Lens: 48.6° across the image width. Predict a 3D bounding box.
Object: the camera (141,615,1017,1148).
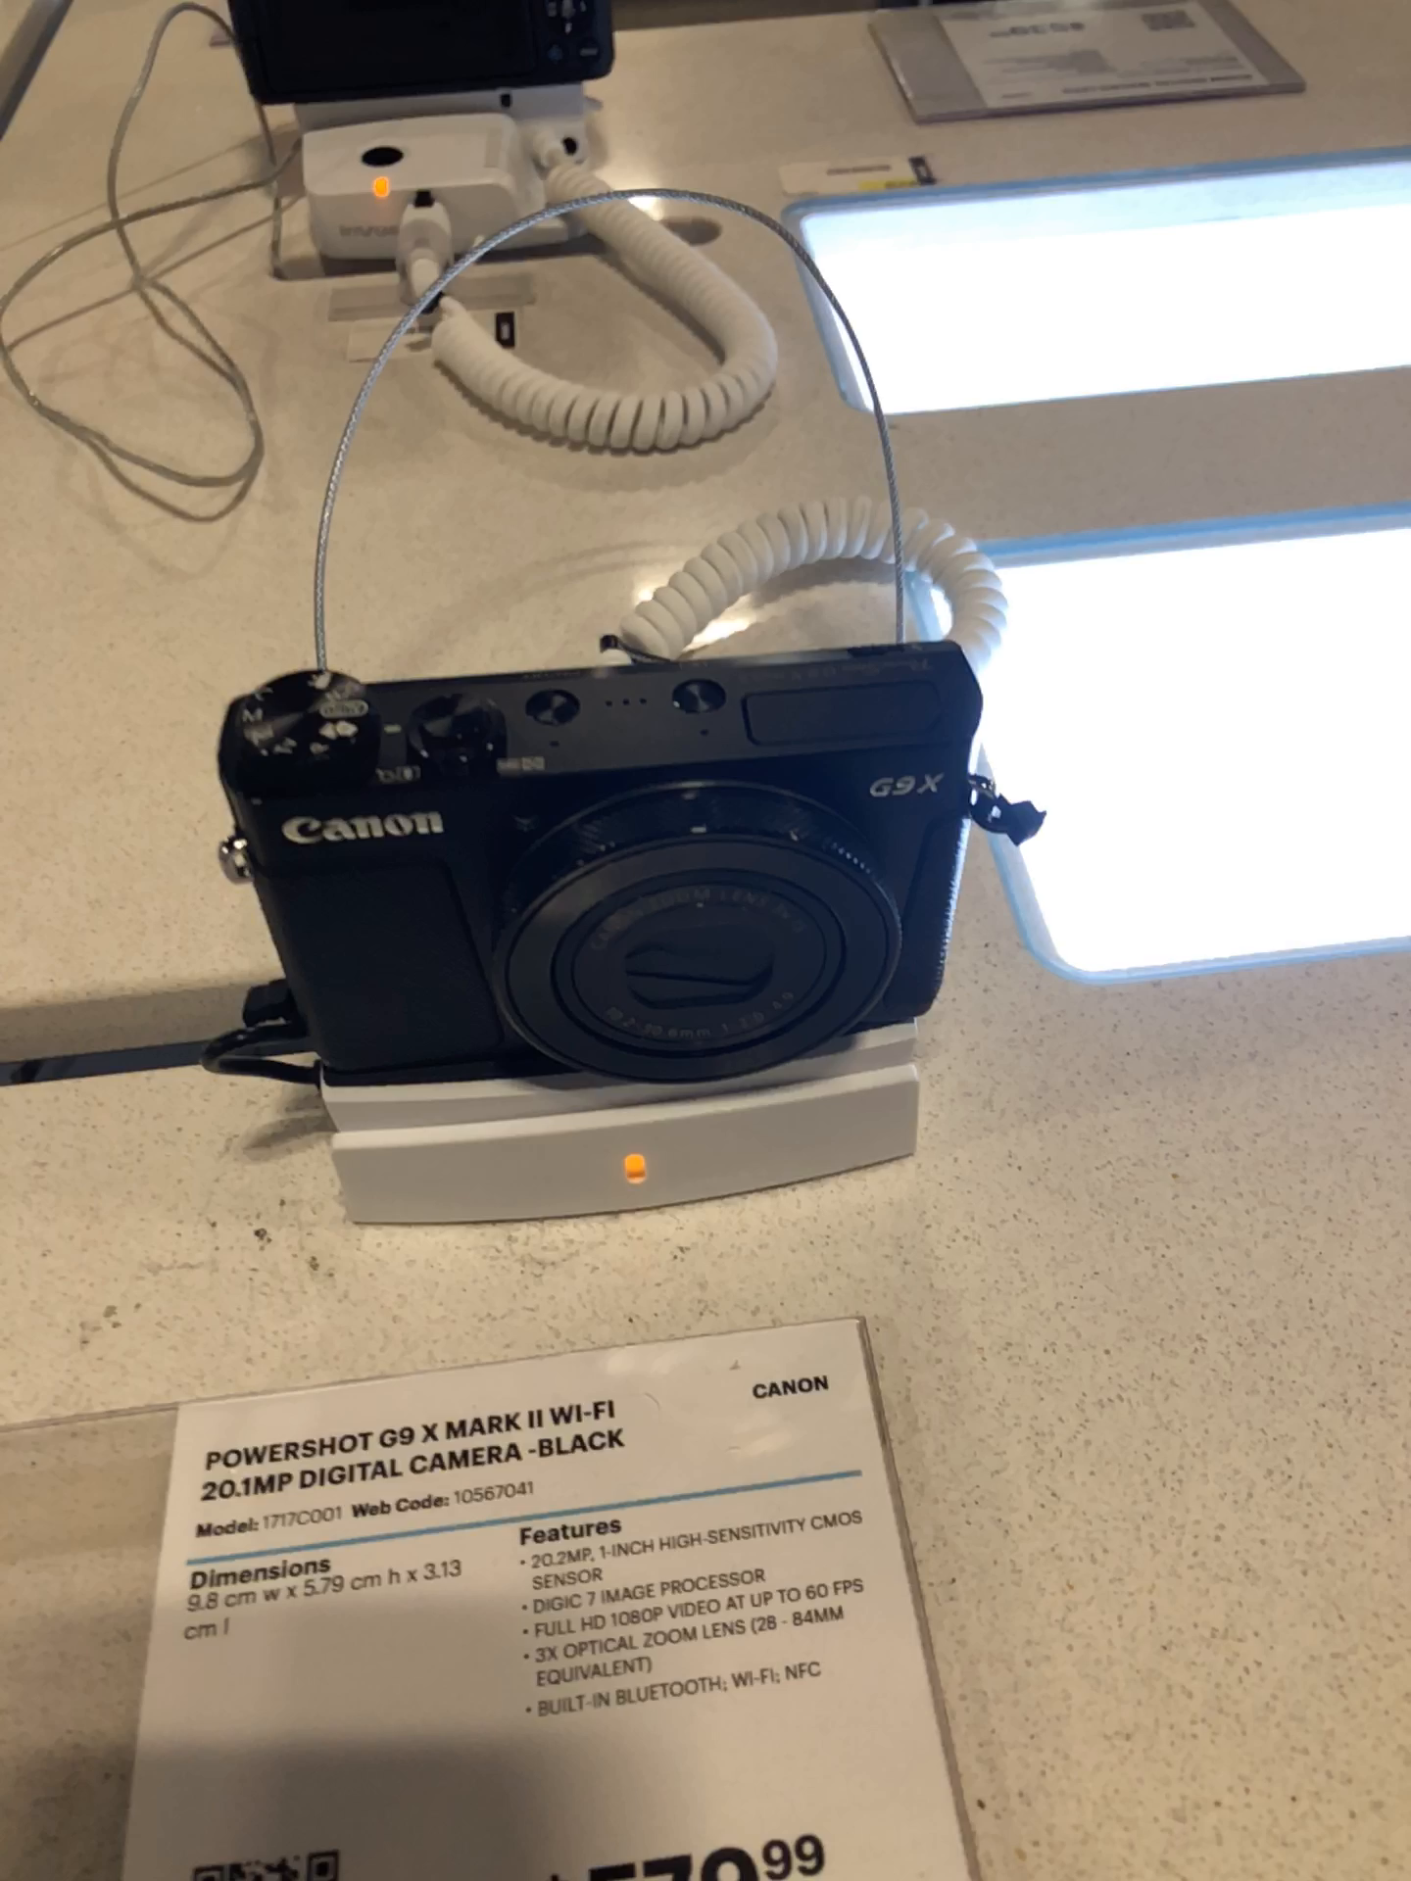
[{"bbox_3d":[-0.014,-0.006,0.210,0.100,0.060,0.030,-5,48,-2],"label":"camera"}]
